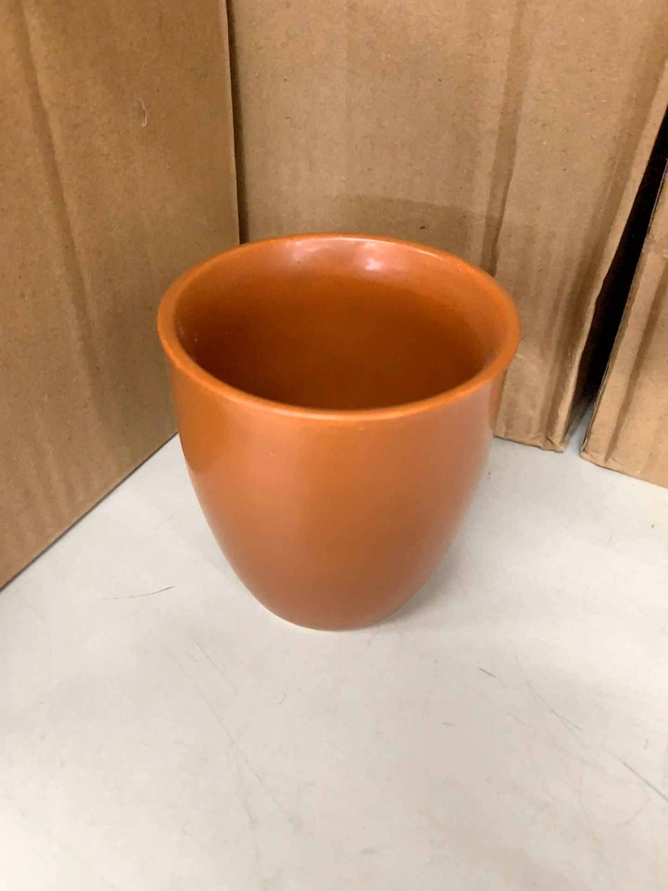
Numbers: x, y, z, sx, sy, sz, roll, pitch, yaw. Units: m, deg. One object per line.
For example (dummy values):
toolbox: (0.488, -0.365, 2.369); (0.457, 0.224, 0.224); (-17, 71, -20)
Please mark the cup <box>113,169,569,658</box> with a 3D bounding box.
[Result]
cup: (-0.002, -0.008, 0.159); (0.070, 0.079, 0.071); (0, 42, 0)
